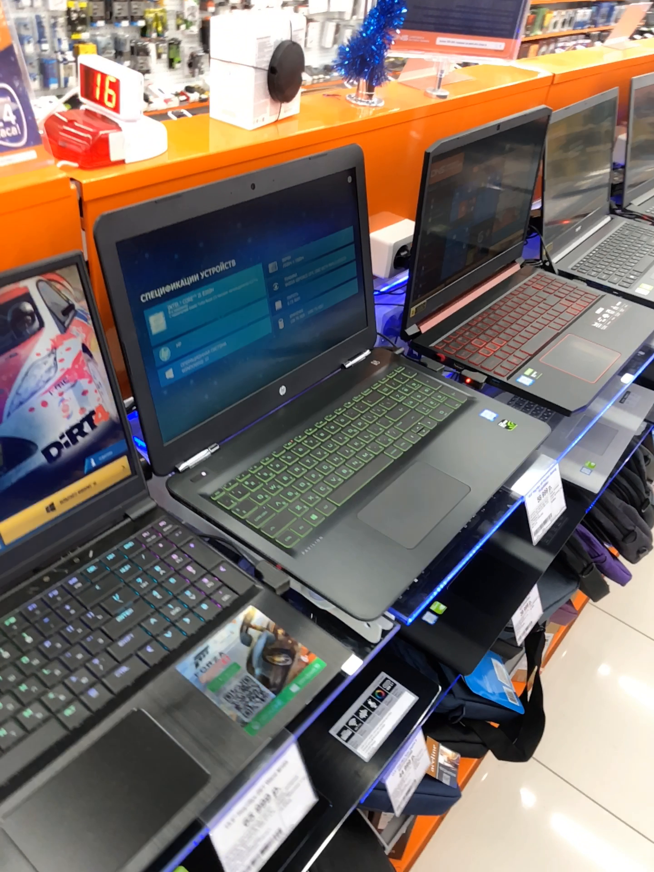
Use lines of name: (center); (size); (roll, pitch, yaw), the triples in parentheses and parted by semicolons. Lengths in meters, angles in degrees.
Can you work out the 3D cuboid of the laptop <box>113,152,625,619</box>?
laptop: (0.044, -0.089, 0.707); (0.312, 0.235, 0.359); (28, 41, 26)
